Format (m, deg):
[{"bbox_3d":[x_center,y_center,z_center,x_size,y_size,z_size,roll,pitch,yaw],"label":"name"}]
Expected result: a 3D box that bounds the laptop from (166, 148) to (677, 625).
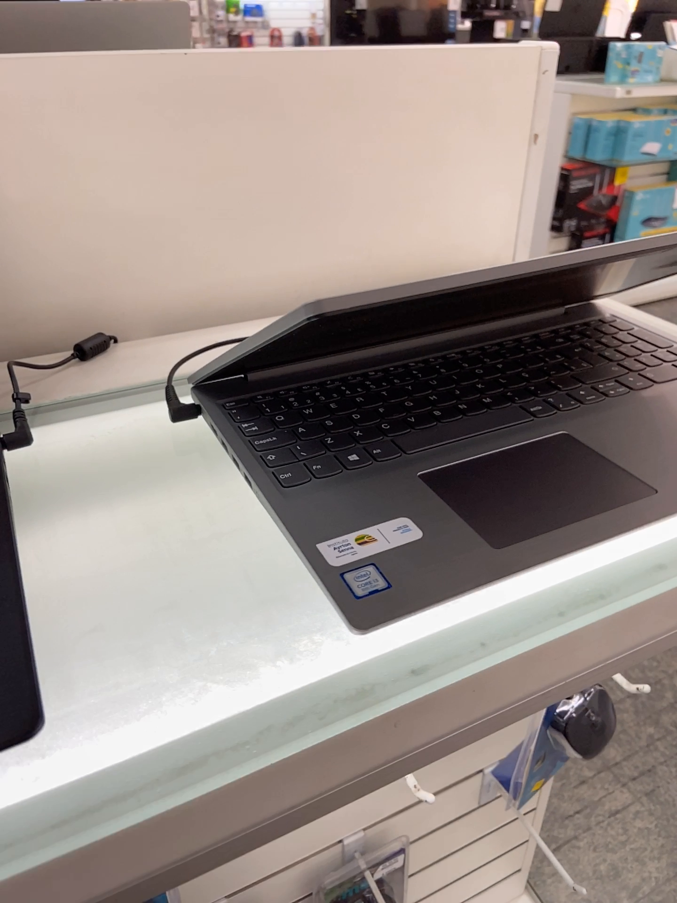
[{"bbox_3d":[0.113,-0.081,0.409,0.355,0.122,0.240,-15,34,-22],"label":"laptop"}]
